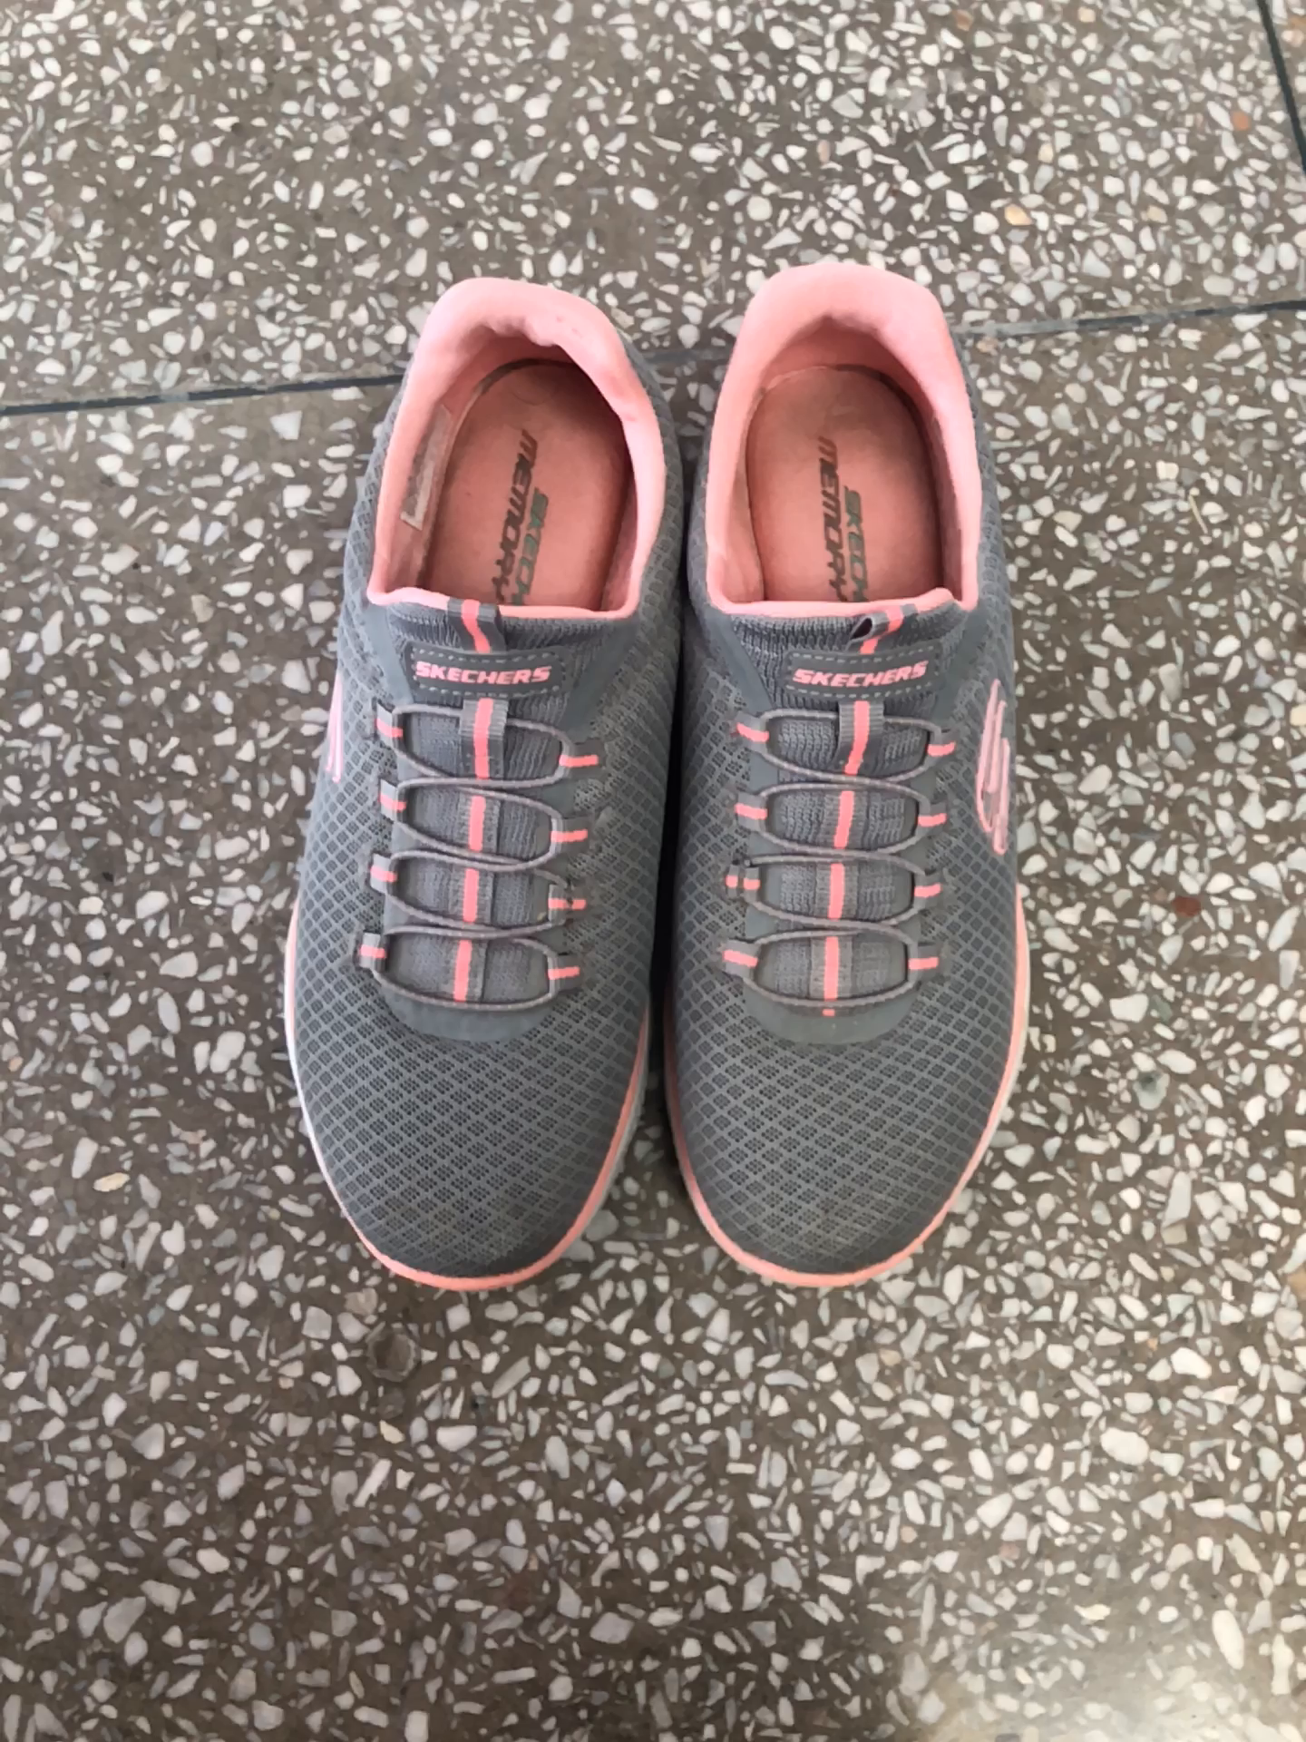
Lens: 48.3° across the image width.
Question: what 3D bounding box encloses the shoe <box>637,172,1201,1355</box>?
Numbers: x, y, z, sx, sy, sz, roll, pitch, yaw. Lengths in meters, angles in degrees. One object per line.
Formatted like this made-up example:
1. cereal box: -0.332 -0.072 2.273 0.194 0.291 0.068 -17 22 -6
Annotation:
1. shoe: 0.053 -0.021 0.347 0.102 0.108 0.247 3 76 0

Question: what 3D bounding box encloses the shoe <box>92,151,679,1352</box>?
1. shoe: -0.049 -0.025 0.341 0.097 0.095 0.252 3 76 0
